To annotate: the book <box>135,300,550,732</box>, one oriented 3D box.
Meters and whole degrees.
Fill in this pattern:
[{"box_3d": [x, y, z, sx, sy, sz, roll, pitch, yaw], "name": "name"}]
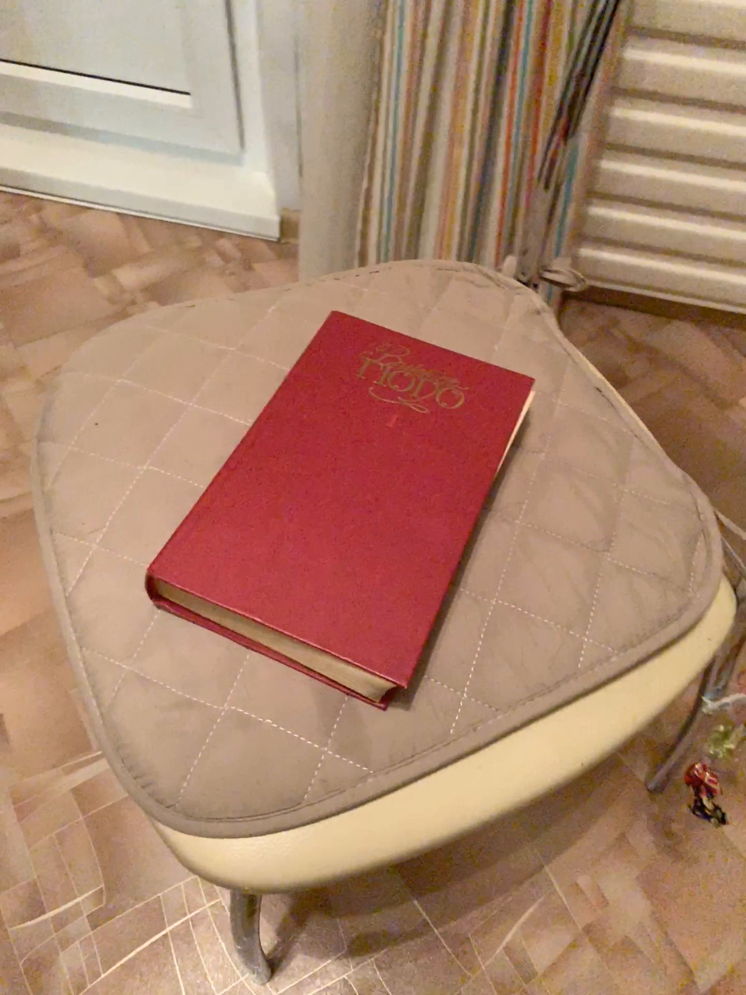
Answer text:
[{"box_3d": [-0.006, -0.002, 0.415, 0.140, 0.060, 0.201, 21, 56, 11], "name": "book"}]
